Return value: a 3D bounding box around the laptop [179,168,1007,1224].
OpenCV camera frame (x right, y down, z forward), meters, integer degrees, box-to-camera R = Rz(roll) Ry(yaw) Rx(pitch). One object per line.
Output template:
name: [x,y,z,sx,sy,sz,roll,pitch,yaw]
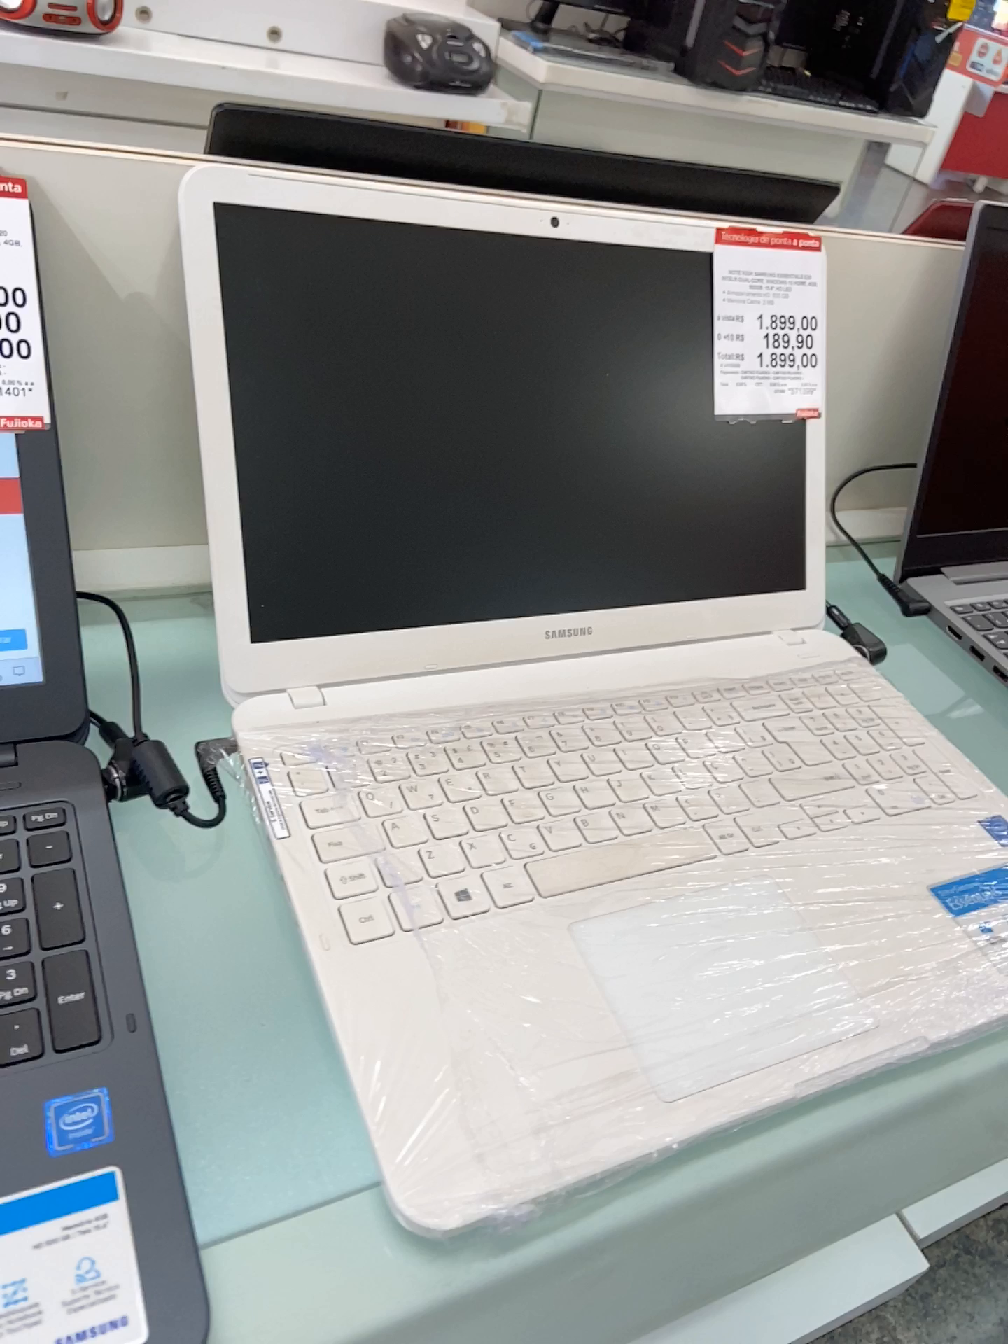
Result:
laptop: [0.082,-0.045,0.477,0.376,0.192,0.382,-6,43,-27]
